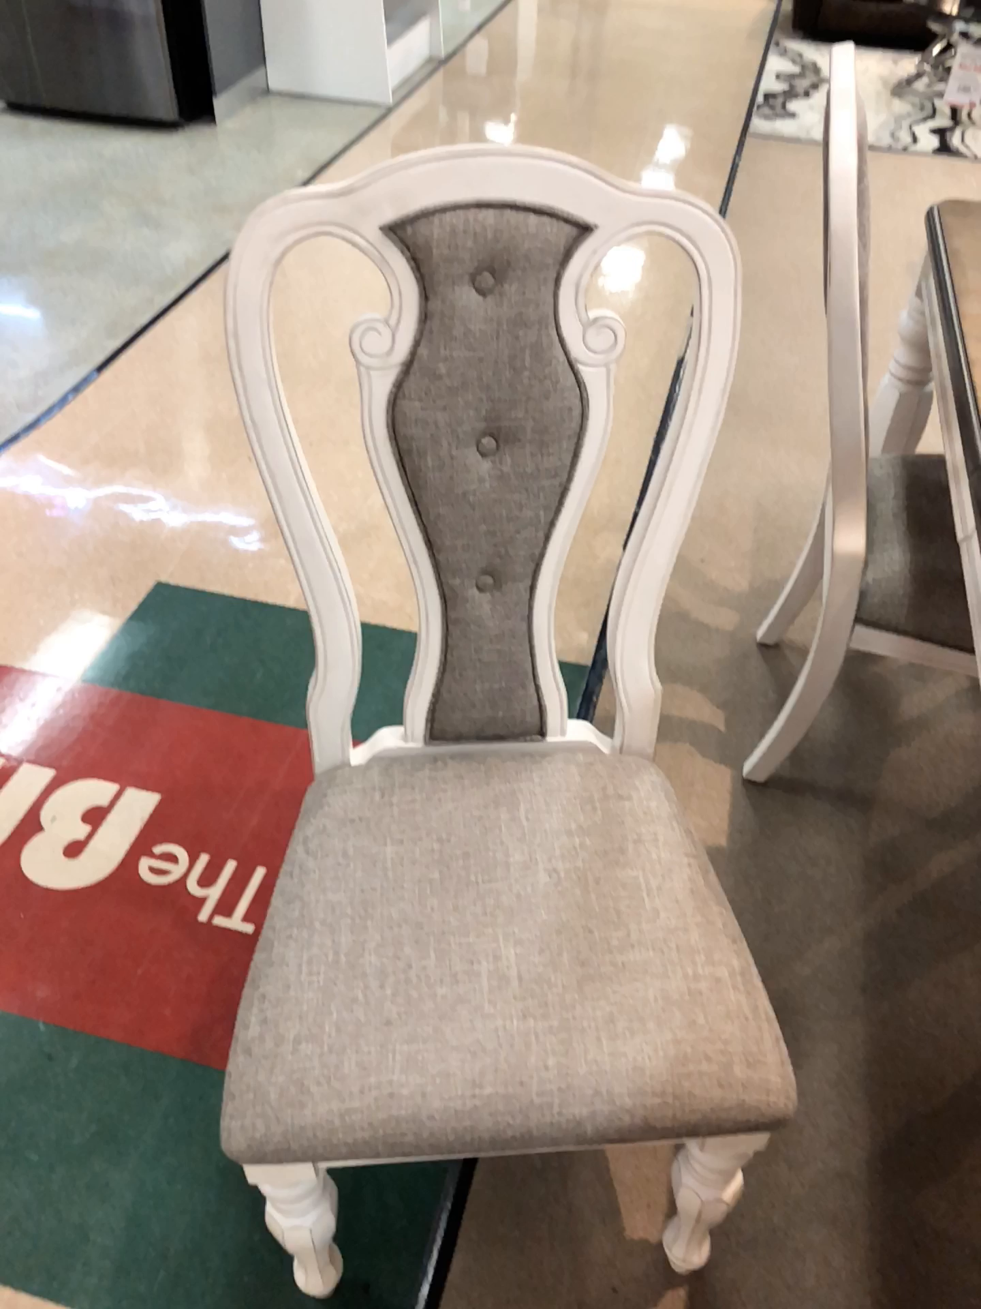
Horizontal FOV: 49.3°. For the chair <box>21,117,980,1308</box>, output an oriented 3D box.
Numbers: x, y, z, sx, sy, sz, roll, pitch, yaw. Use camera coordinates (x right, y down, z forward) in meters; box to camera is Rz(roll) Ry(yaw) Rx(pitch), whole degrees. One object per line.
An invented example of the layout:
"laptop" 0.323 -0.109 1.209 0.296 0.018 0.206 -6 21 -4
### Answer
"chair" 0.031 0.110 1.080 0.550 1.013 0.675 -1 42 -4
